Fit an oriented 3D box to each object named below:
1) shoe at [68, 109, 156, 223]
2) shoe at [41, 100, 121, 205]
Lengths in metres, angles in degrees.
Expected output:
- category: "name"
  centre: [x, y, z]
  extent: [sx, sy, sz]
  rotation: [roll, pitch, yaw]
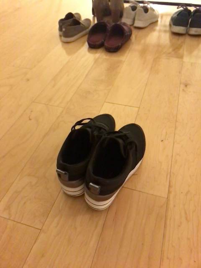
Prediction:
- category: "shoe"
  centre: [0.040, 0.064, 0.543]
  extent: [0.110, 0.099, 0.252]
  rotation: [18, 49, 19]
- category: "shoe"
  centre: [-0.033, 0.034, 0.571]
  extent: [0.100, 0.099, 0.252]
  rotation: [14, 47, 16]
